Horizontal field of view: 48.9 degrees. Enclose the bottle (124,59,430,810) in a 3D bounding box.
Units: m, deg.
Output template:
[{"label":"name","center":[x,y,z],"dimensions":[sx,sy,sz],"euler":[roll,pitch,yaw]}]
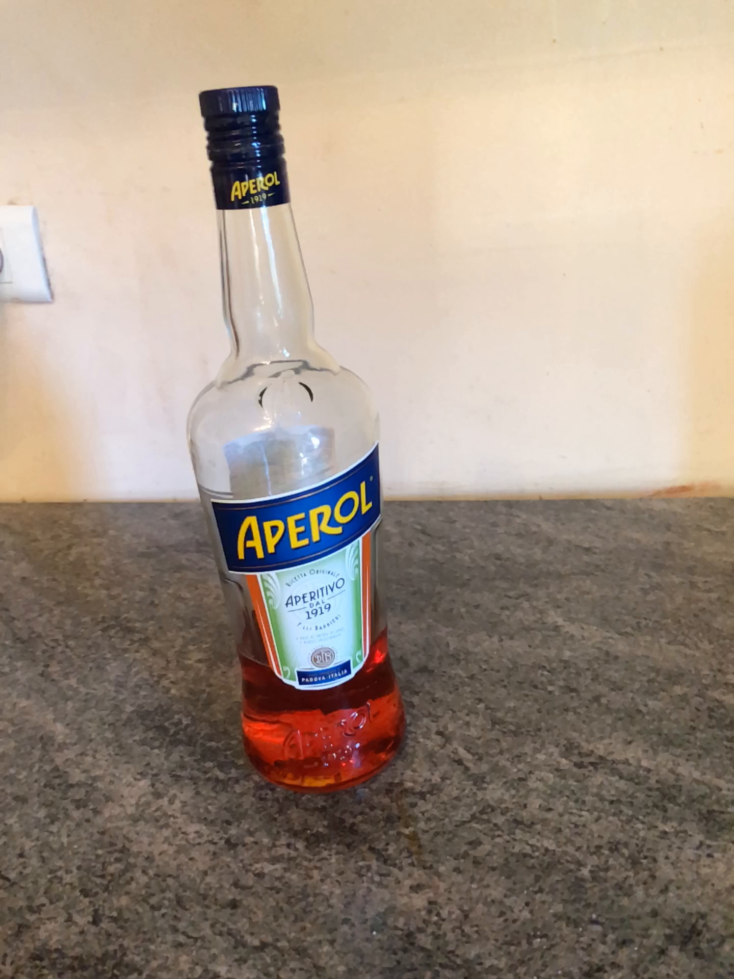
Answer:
[{"label":"bottle","center":[-0.034,-0.014,0.387],"dimensions":[0.090,0.328,0.090],"euler":[-4,23,2]}]
